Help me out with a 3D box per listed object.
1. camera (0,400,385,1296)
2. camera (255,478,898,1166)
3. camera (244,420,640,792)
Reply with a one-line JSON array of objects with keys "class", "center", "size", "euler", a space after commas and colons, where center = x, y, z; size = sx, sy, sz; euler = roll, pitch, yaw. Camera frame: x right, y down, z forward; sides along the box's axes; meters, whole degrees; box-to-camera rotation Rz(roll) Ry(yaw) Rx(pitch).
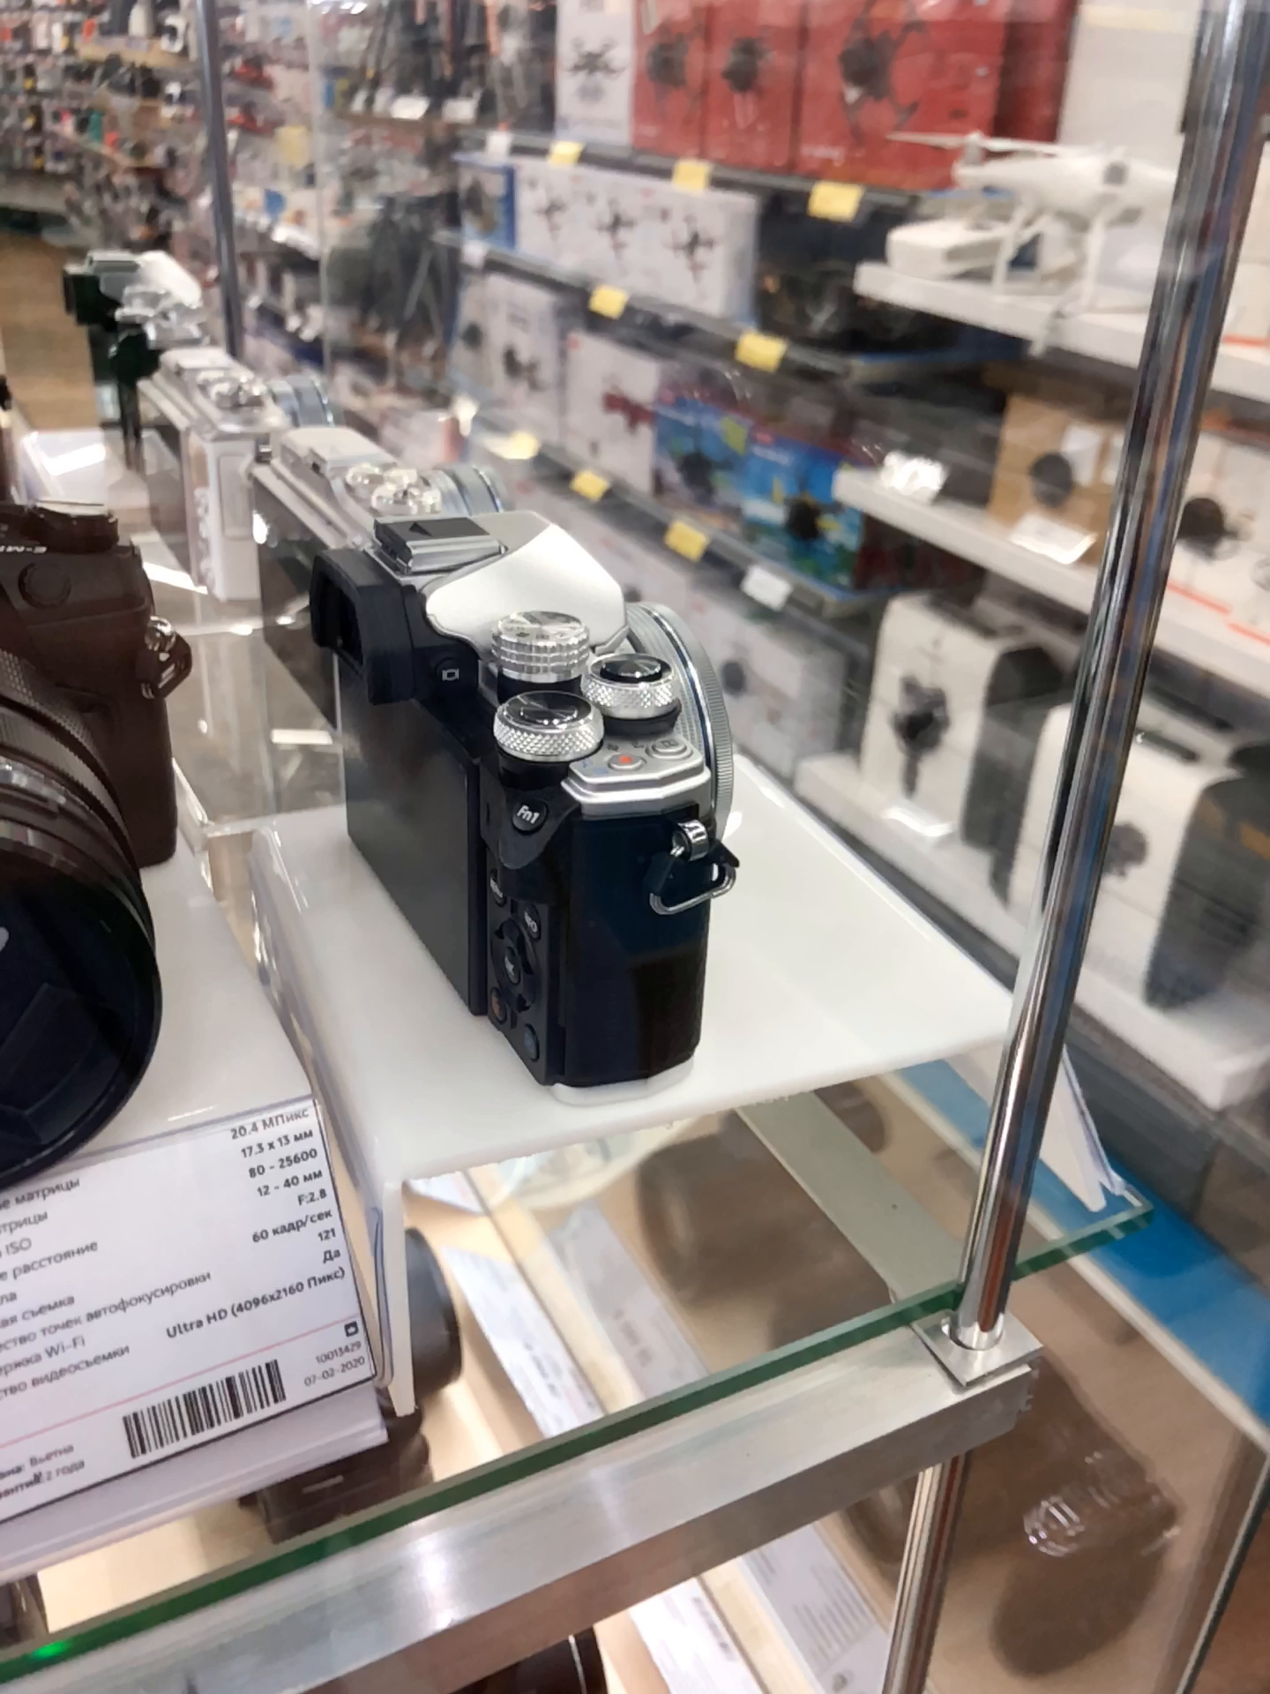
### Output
[{"class": "camera", "center": [-0.115, -0.017, 0.245], "size": [0.102, 0.087, 0.137], "euler": [-11, 31, -25]}, {"class": "camera", "center": [-0.020, -0.016, 0.277], "size": [0.072, 0.080, 0.120], "euler": [-12, 31, -26]}, {"class": "camera", "center": [-0.062, -0.078, 0.416], "size": [0.065, 0.062, 0.140], "euler": [-12, 31, -26]}]
